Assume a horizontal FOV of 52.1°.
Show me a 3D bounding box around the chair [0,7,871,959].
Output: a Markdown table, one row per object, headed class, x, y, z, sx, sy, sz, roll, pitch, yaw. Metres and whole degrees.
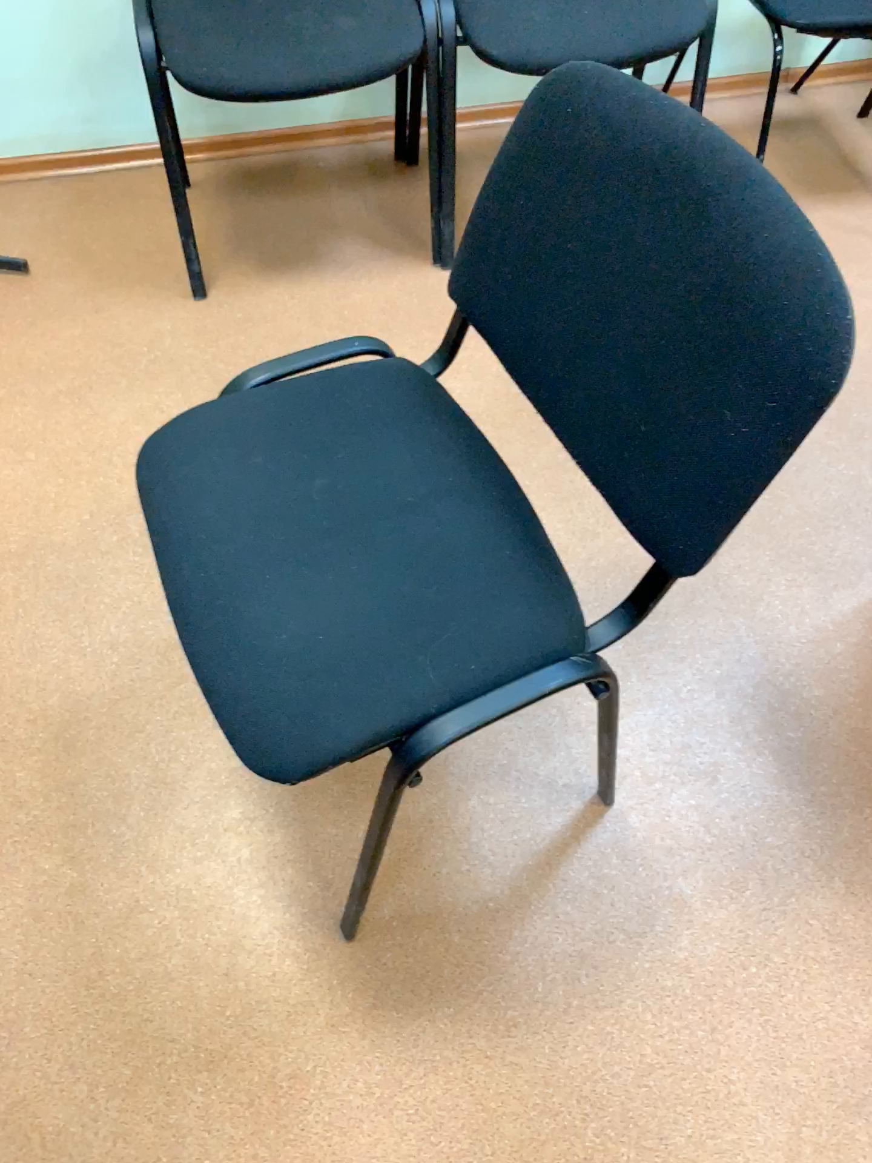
| class | x | y | z | sx | sy | sz | roll | pitch | yaw |
| --- | --- | --- | --- | --- | --- | --- | --- | --- | --- |
| chair | -0.009 | -0.056 | 1.029 | 0.591 | 0.785 | 0.577 | -21 | 59 | -14 |
